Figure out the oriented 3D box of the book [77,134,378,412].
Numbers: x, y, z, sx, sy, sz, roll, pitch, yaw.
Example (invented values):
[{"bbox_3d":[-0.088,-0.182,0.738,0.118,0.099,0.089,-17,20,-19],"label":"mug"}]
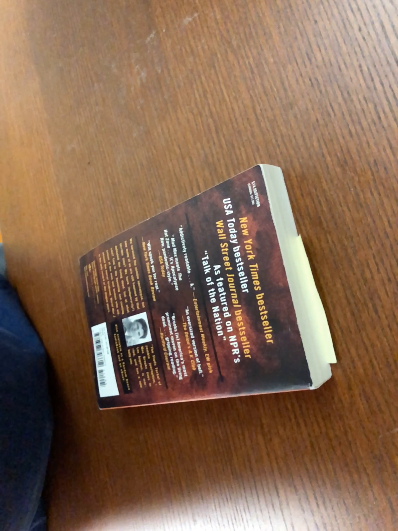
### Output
[{"bbox_3d":[-0.005,0.024,0.311,0.221,0.030,0.140,-19,76,41],"label":"book"}]
